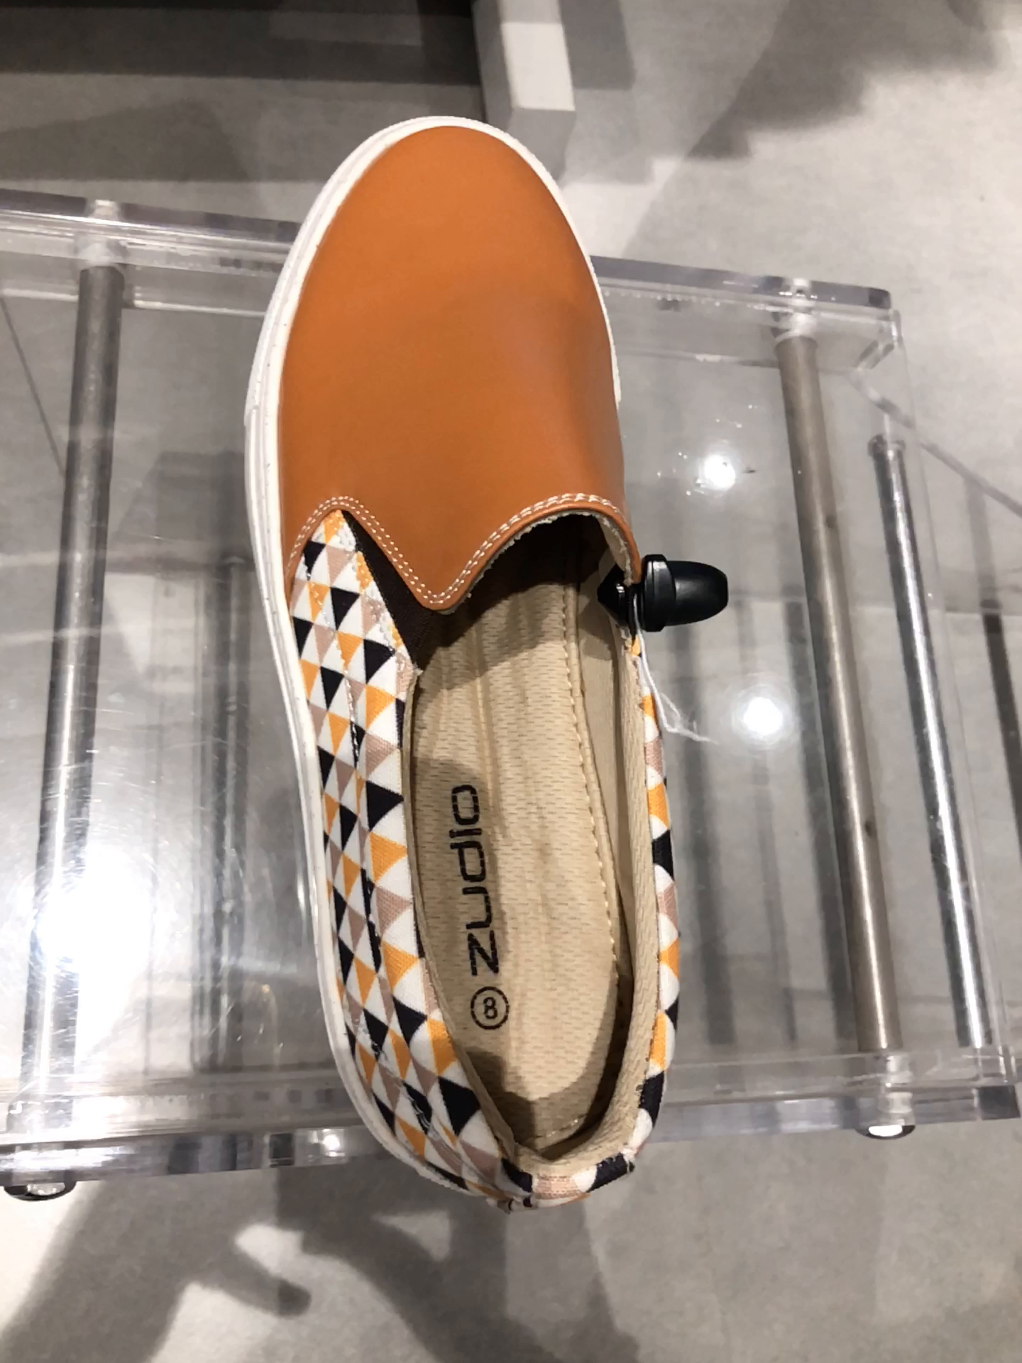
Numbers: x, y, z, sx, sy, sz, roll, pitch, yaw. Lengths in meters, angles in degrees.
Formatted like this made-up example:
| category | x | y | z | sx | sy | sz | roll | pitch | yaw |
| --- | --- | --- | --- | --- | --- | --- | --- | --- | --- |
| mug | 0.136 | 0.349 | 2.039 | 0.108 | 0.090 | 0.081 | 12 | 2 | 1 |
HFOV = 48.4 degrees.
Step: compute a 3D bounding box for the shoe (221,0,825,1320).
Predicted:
| category | x | y | z | sx | sy | sz | roll | pitch | yaw |
| --- | --- | --- | --- | --- | --- | --- | --- | --- | --- |
| shoe | -0.015 | -0.020 | 0.288 | 0.110 | 0.100 | 0.290 | 0 | 74 | -13 |
